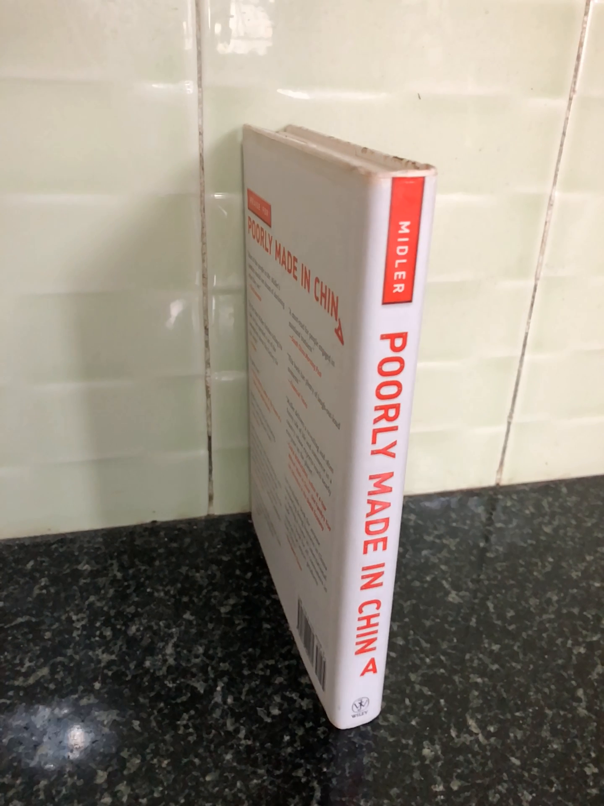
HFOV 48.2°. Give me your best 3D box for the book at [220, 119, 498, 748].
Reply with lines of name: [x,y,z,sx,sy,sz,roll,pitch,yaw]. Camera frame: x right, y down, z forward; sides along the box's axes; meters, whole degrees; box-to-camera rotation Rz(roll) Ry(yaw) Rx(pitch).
book: [0.002,-0.004,0.309,0.040,0.219,0.191,-6,27,-17]
